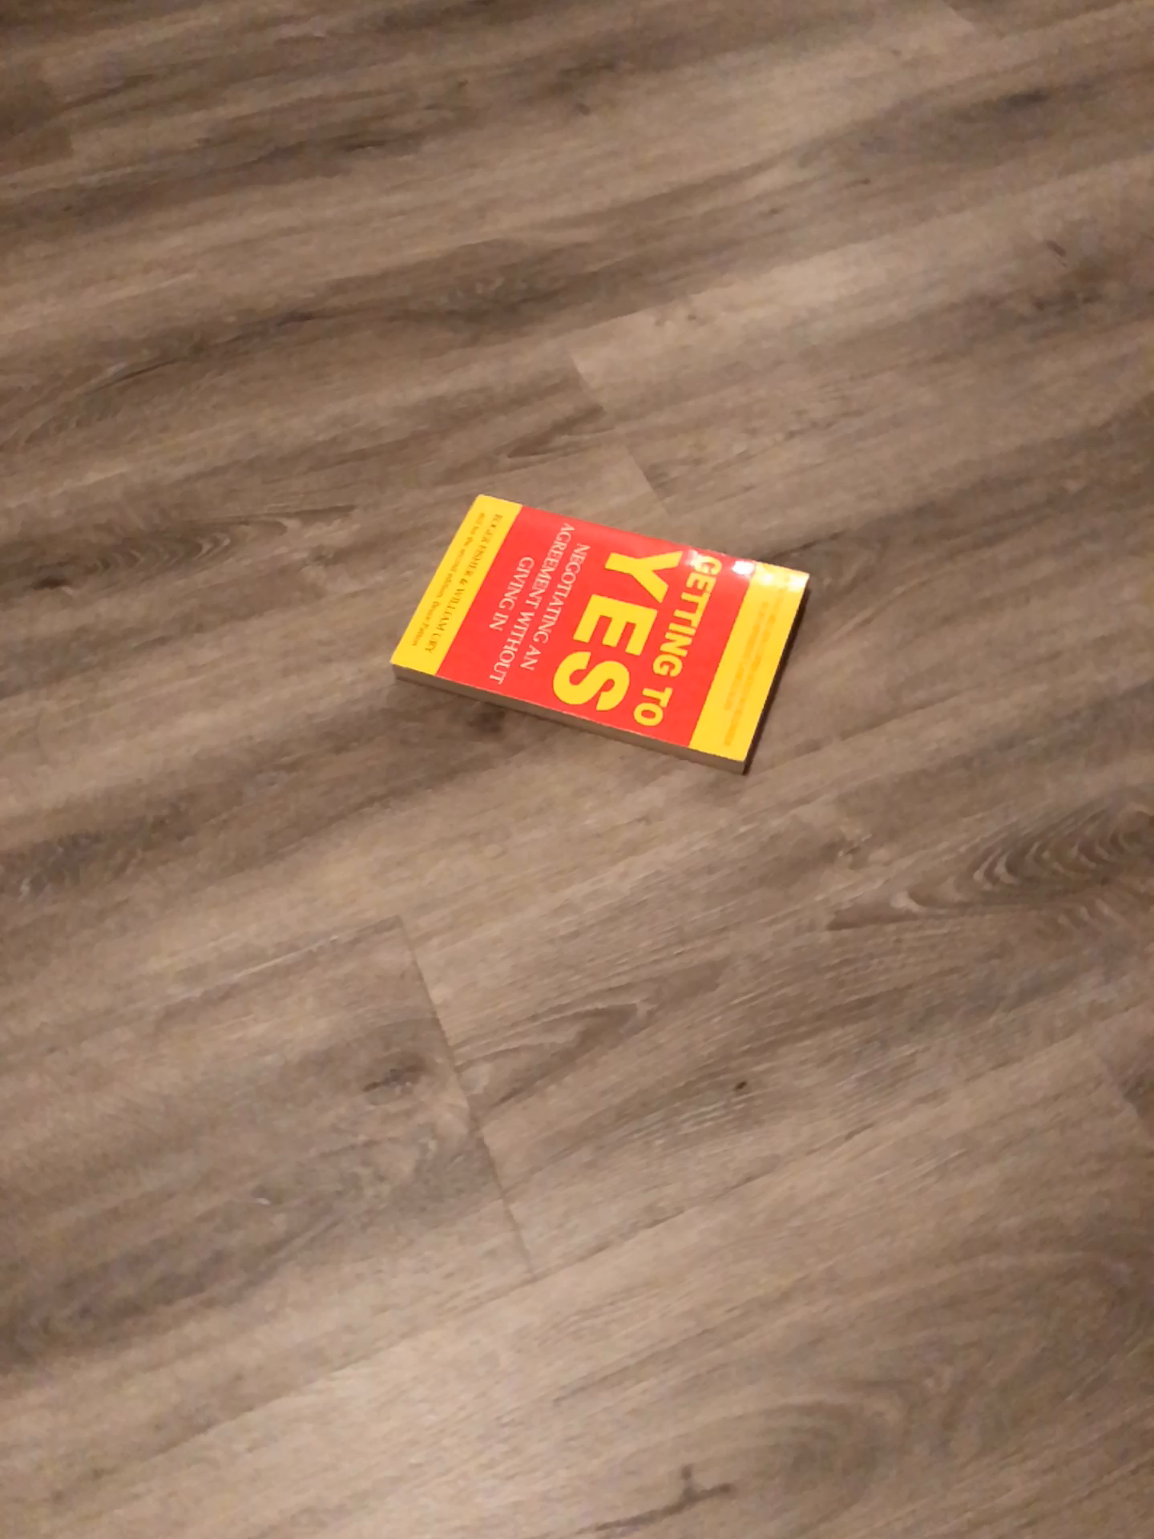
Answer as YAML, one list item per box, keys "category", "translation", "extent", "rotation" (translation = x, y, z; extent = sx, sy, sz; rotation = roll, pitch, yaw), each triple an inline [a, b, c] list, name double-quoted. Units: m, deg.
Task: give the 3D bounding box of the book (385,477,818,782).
- category: "book"
  translation: [0.015, -0.078, 0.666]
  extent: [0.190, 0.026, 0.130]
  rotation: [16, 59, 13]
